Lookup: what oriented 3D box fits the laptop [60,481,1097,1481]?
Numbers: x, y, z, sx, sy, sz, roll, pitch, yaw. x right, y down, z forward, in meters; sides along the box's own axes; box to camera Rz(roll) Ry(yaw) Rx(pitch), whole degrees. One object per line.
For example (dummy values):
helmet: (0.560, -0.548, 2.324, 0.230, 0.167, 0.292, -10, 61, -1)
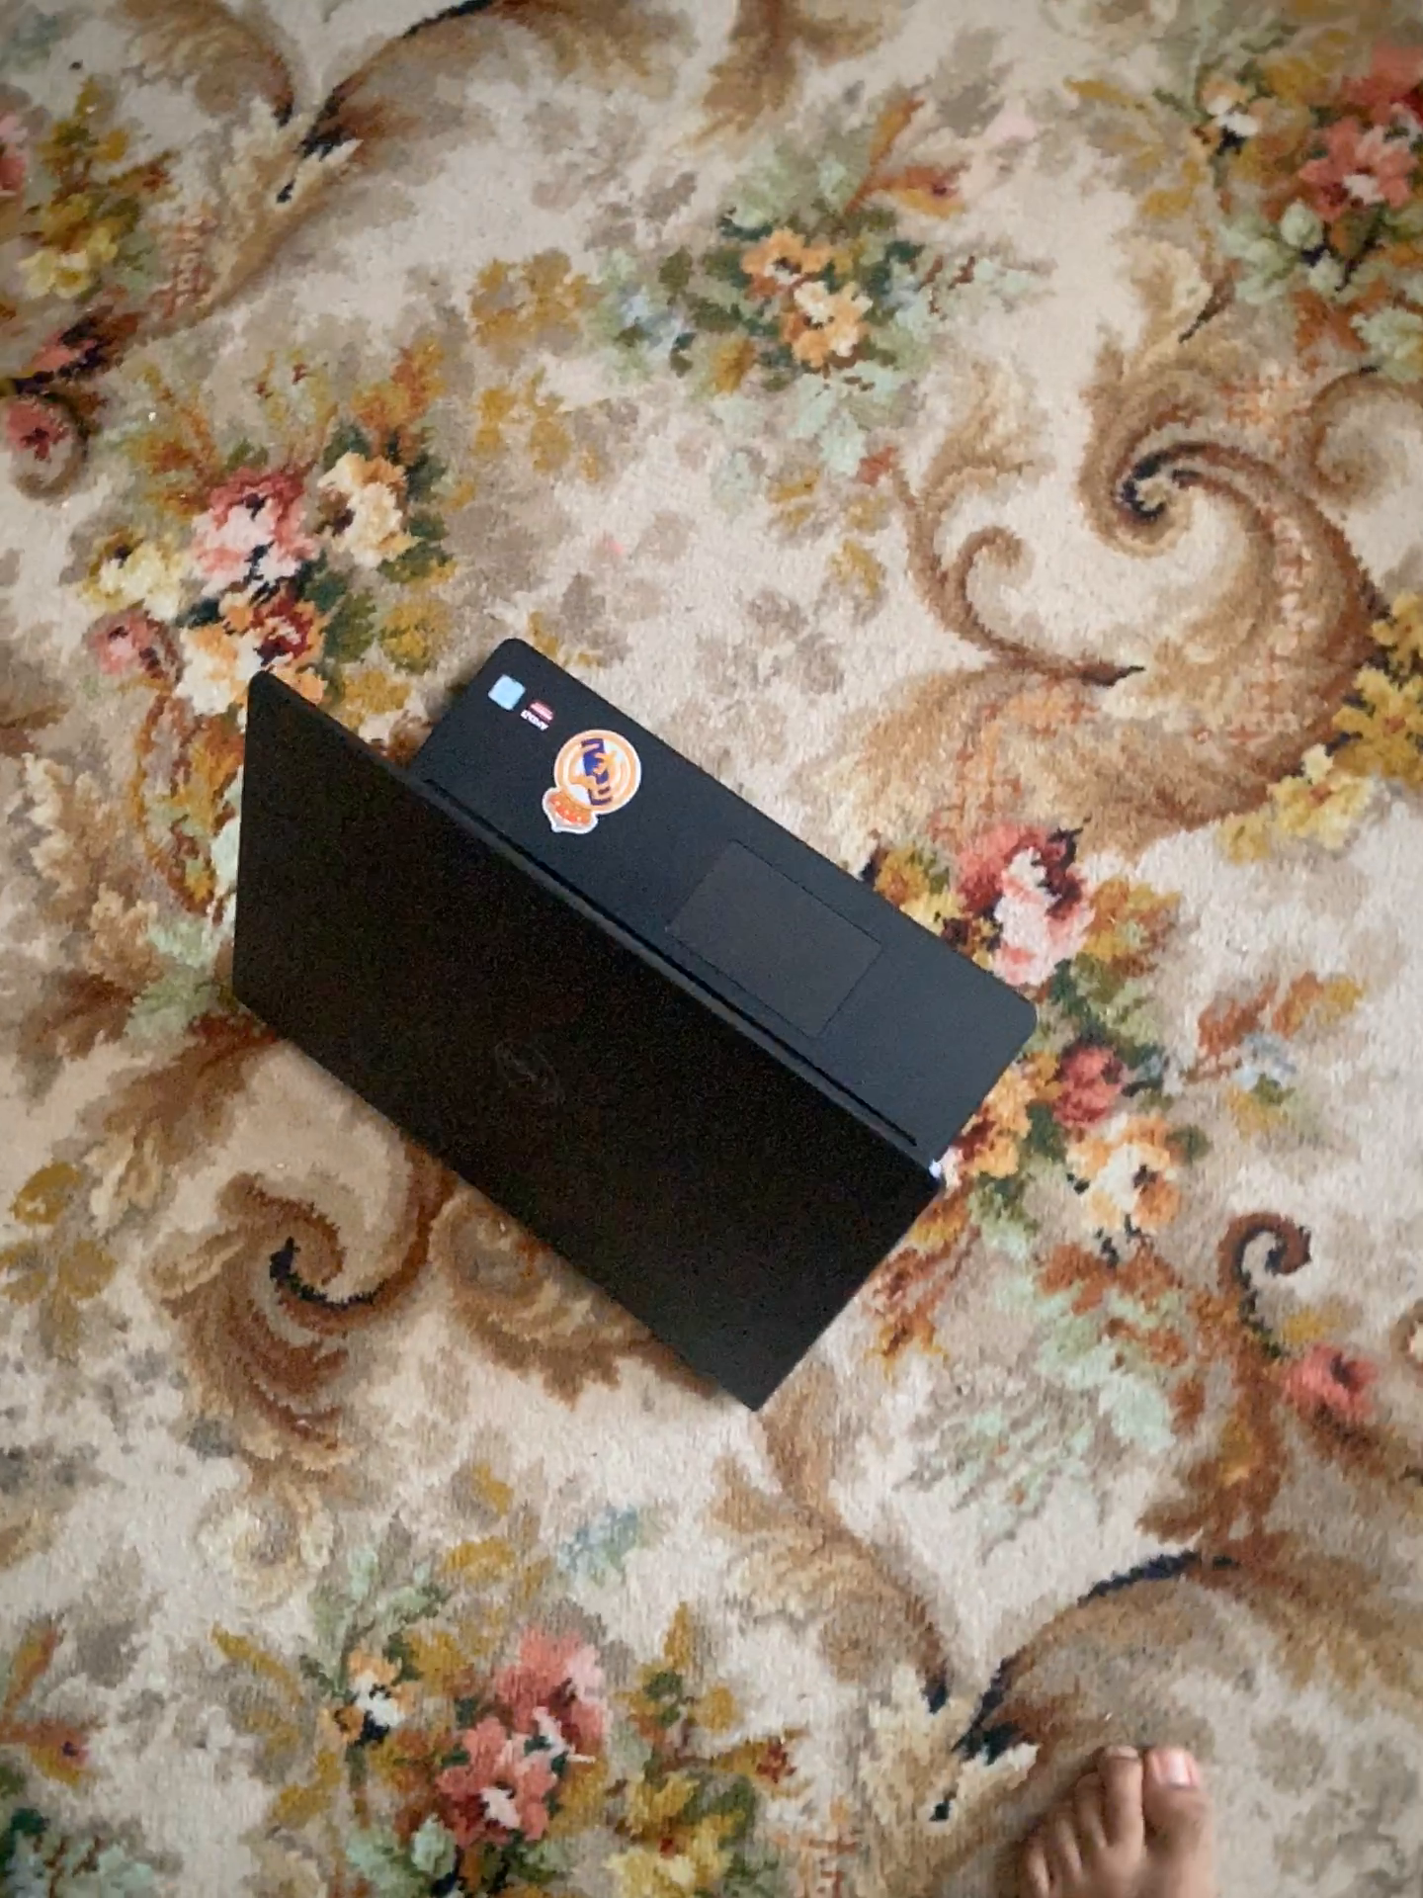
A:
laptop: (-0.056, 0.014, 0.700, 0.367, 0.194, 0.251, 36, 88, 11)
